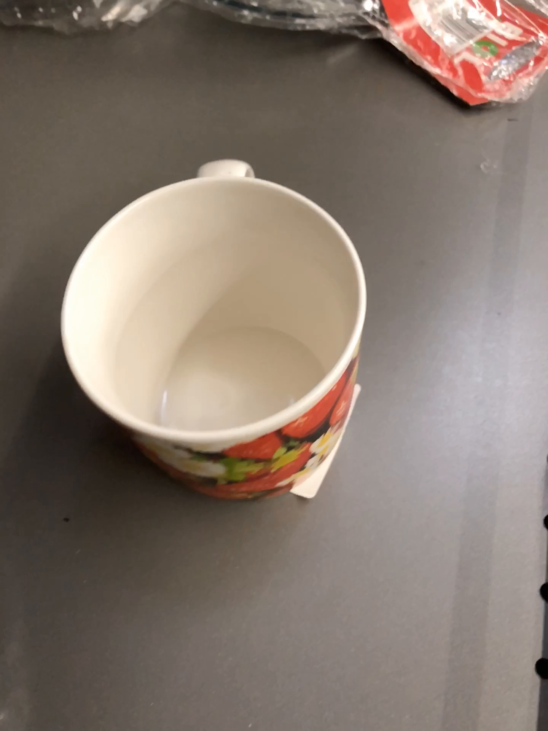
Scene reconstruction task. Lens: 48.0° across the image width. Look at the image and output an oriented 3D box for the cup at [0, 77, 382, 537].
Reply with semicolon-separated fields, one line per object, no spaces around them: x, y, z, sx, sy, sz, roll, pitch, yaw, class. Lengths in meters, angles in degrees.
-0.016;-0.019;0.212;0.090;0.078;0.129;6;65;6;cup
